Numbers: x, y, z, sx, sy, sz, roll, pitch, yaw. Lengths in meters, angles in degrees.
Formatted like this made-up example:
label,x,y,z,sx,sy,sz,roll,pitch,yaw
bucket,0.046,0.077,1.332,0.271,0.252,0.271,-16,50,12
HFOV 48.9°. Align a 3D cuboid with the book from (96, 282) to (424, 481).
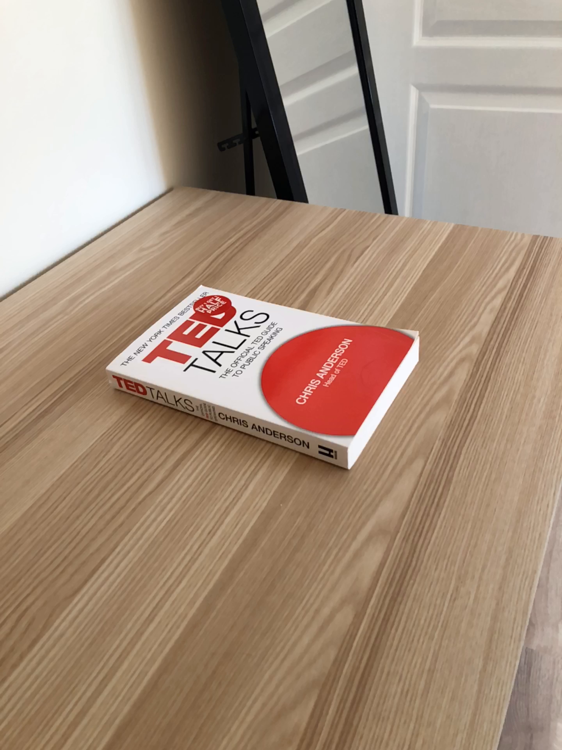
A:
label,x,y,z,sx,sy,sz,roll,pitch,yaw
book,-0.016,-0.008,0.497,0.220,0.030,0.139,16,43,25
